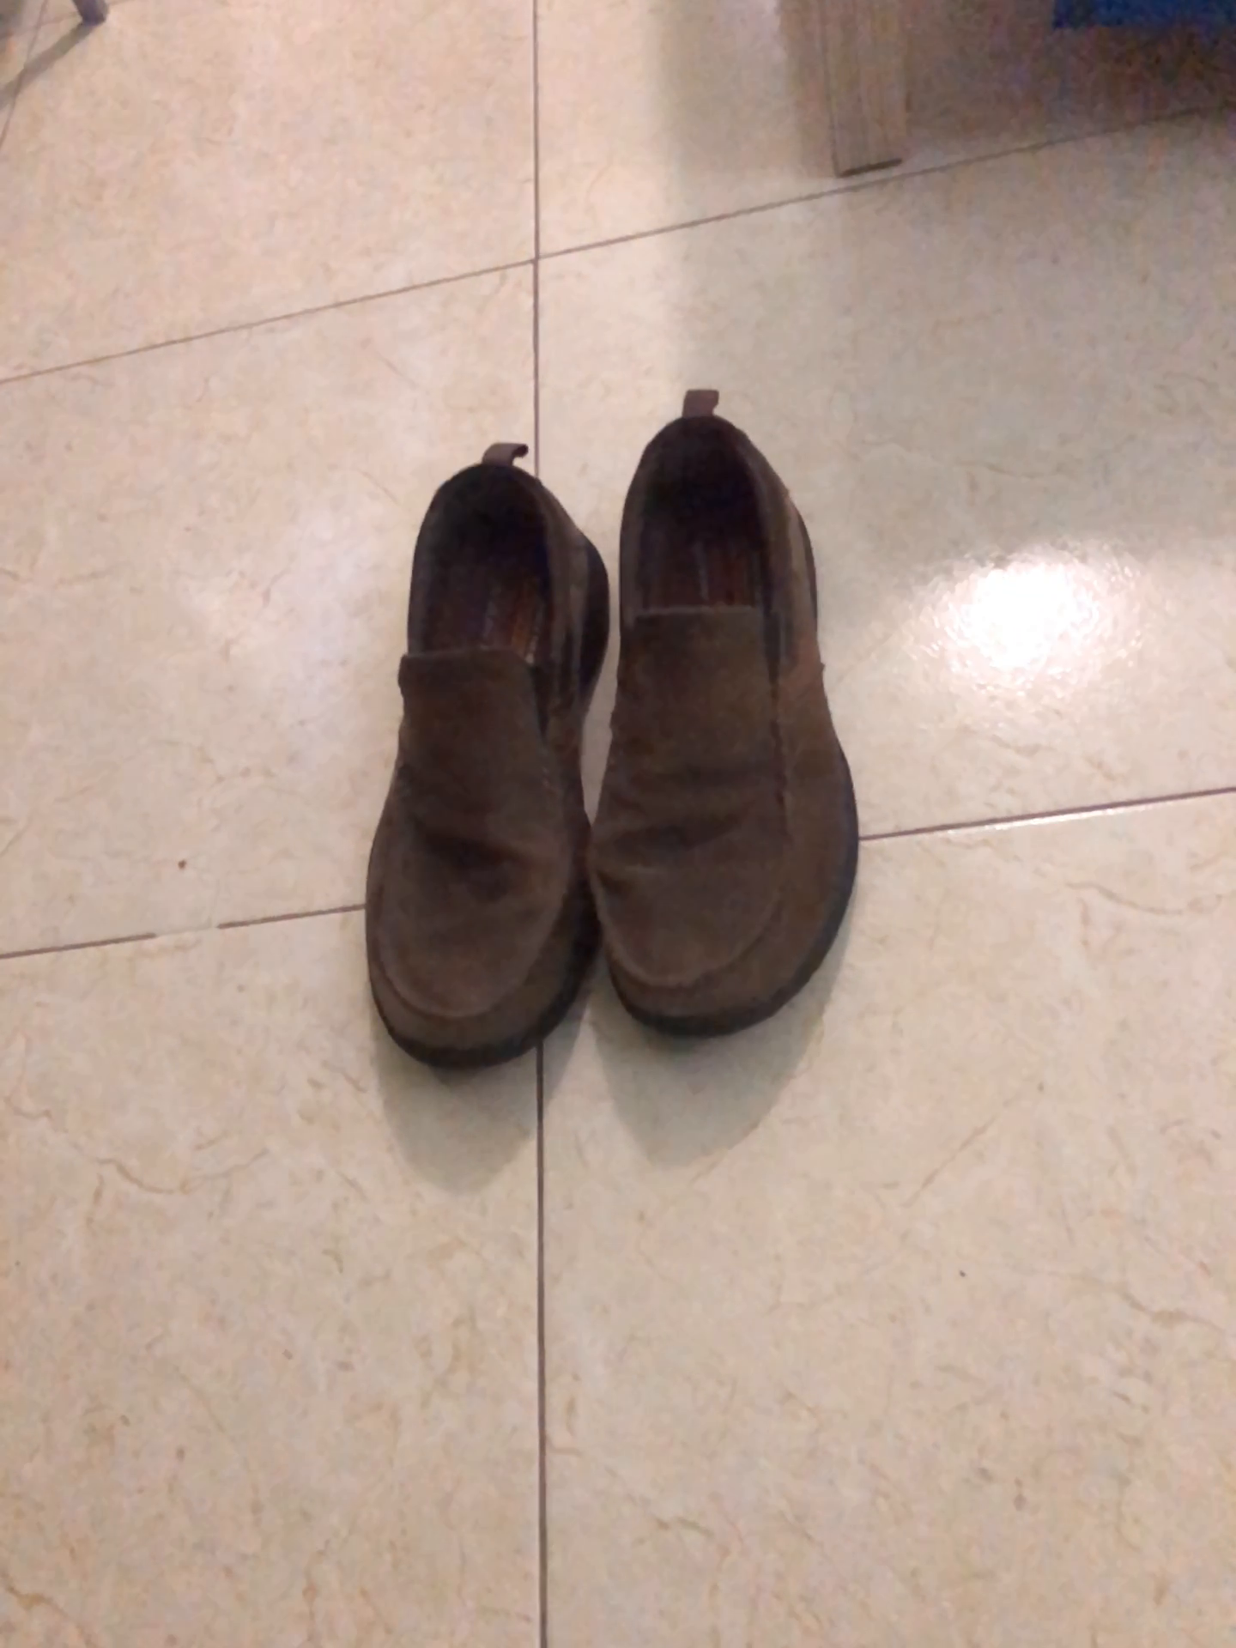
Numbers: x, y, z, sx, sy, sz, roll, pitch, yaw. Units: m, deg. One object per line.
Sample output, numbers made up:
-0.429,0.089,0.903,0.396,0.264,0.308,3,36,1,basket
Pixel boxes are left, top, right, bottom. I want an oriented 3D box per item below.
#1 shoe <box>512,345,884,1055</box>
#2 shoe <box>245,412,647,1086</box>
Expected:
0.041,-0.060,0.612,0.130,0.100,0.301,-5,60,13,shoe
-0.066,-0.039,0.639,0.120,0.100,0.301,-3,61,14,shoe
